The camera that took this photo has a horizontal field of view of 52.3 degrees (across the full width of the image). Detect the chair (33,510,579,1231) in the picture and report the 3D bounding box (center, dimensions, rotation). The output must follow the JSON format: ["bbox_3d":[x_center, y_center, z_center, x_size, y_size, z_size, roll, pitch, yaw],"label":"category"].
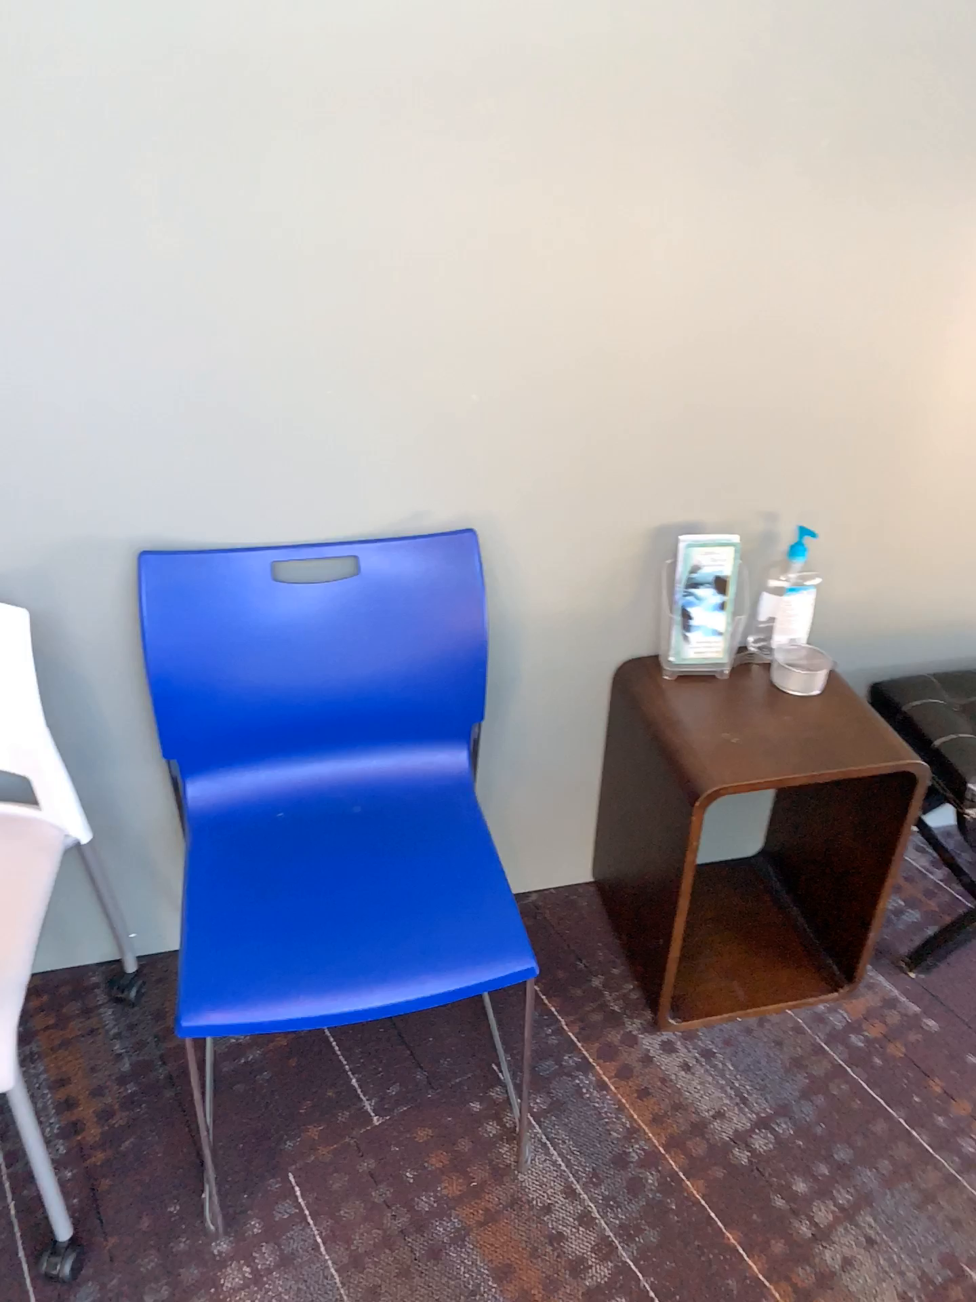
[{"bbox_3d":[-0.252,0.280,1.533,0.590,0.796,0.623,-6,26,-11],"label":"chair"}]

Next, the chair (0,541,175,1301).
[{"bbox_3d":[-0.767,0.350,1.302,0.590,0.796,0.563,-6,31,-22],"label":"chair"}]
